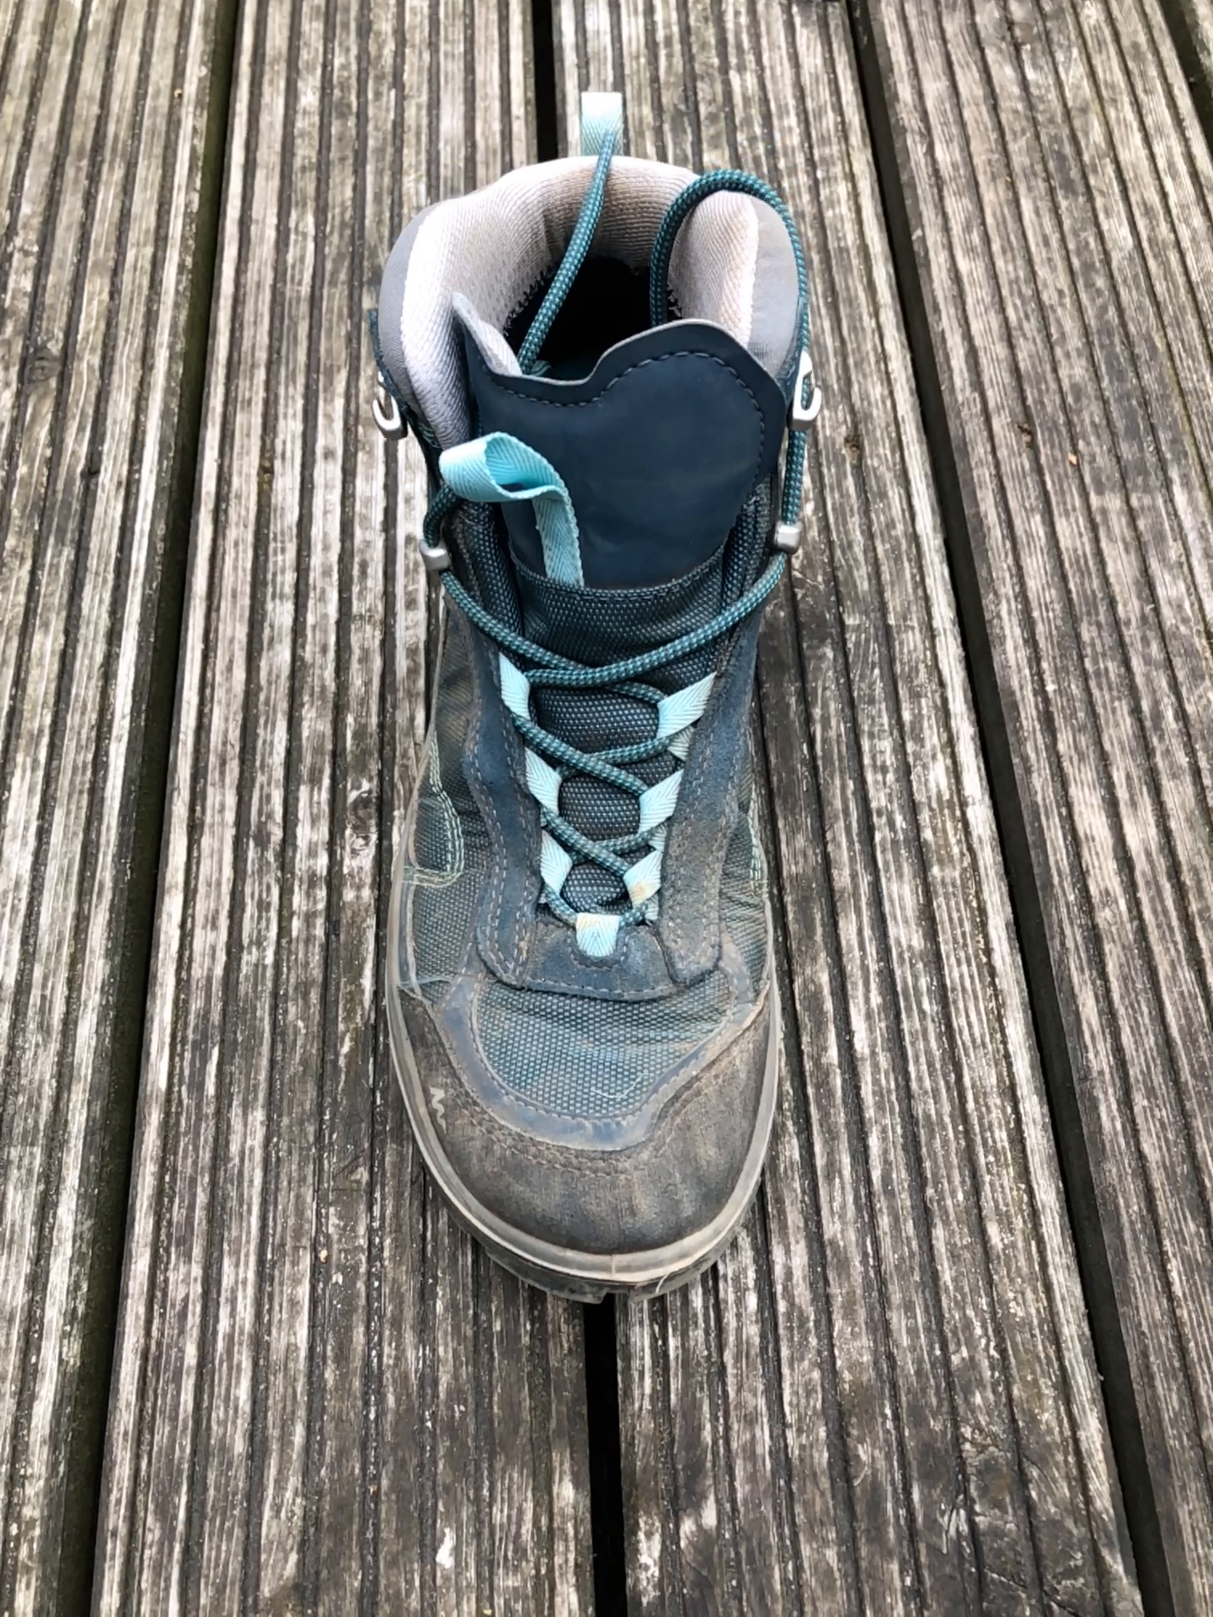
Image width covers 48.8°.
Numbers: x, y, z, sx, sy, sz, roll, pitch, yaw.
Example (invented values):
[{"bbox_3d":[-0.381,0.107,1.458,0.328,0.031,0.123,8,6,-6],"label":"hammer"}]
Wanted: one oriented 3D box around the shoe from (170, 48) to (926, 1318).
[{"bbox_3d":[-0.010,-0.031,0.324,0.120,0.120,0.281,-1,66,1],"label":"shoe"}]
